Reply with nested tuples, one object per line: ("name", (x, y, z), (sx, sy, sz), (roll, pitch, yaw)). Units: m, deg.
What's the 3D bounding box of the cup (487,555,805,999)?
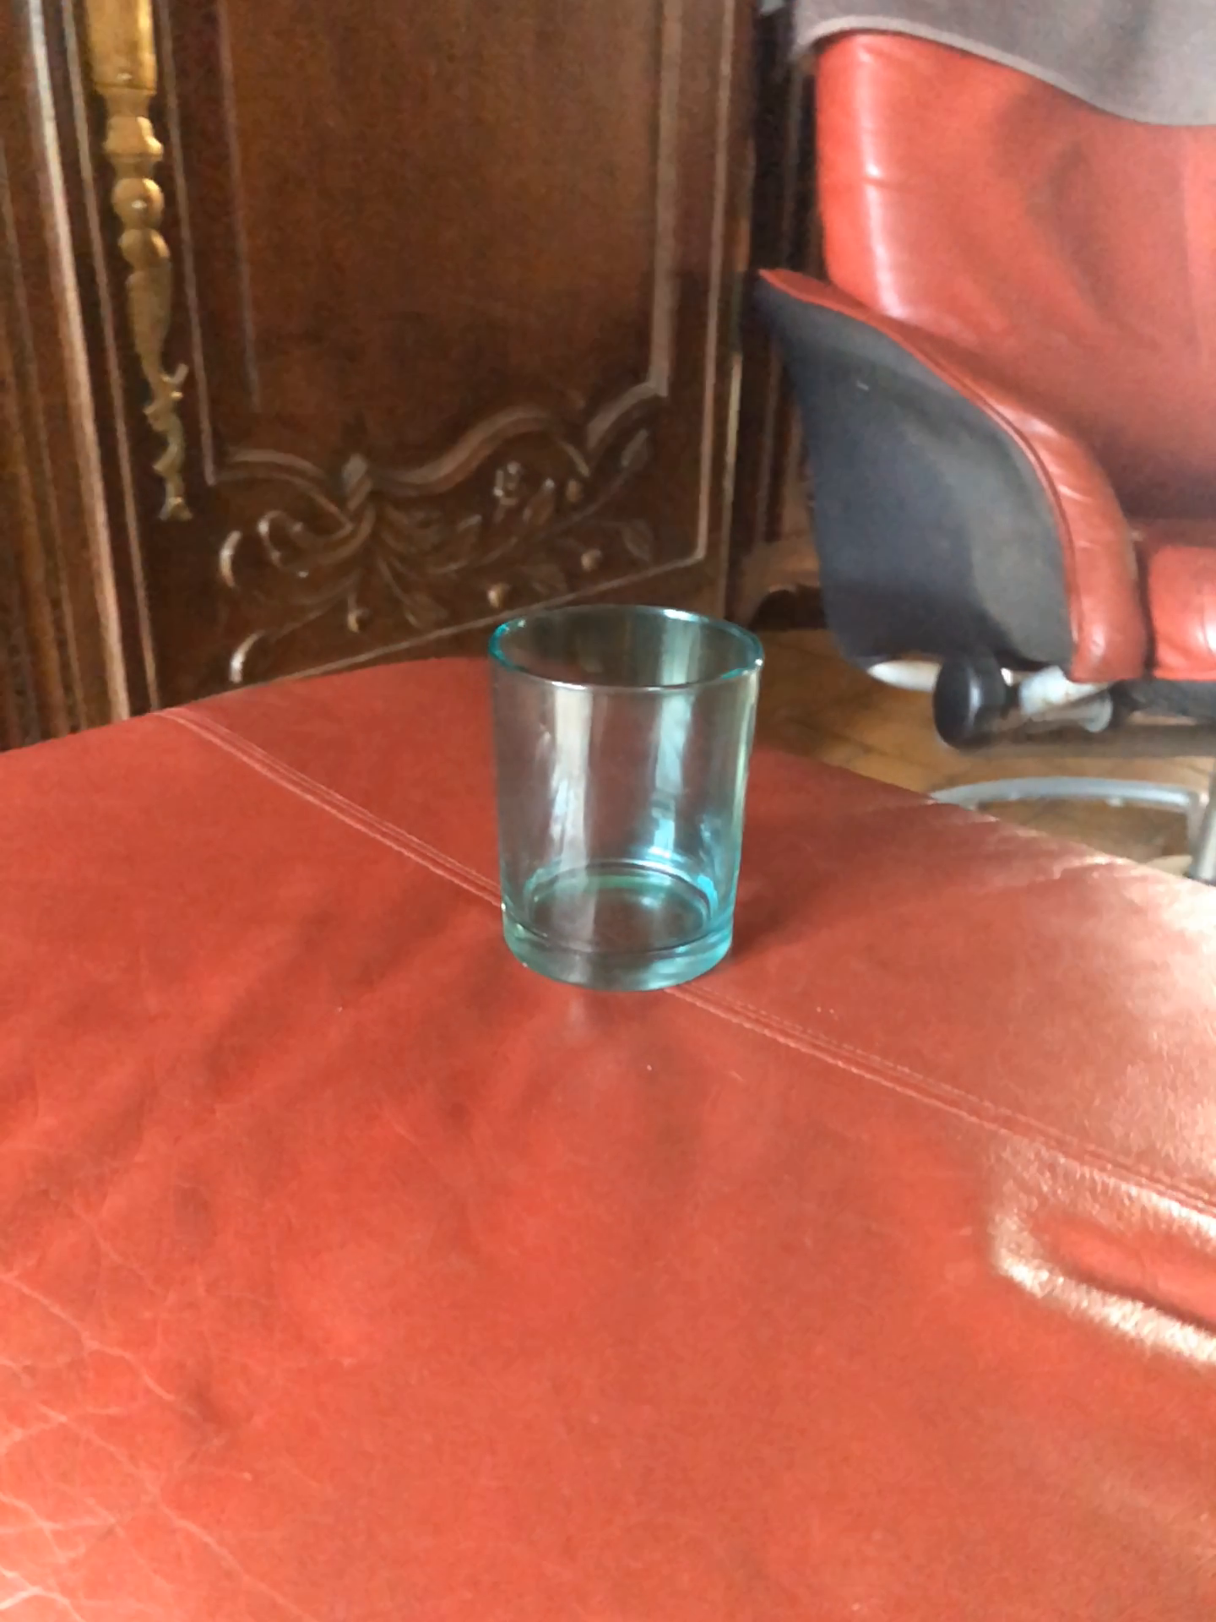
("cup", (0.011, -0.012, 0.354), (0.070, 0.089, 0.070), (2, 25, -1))
